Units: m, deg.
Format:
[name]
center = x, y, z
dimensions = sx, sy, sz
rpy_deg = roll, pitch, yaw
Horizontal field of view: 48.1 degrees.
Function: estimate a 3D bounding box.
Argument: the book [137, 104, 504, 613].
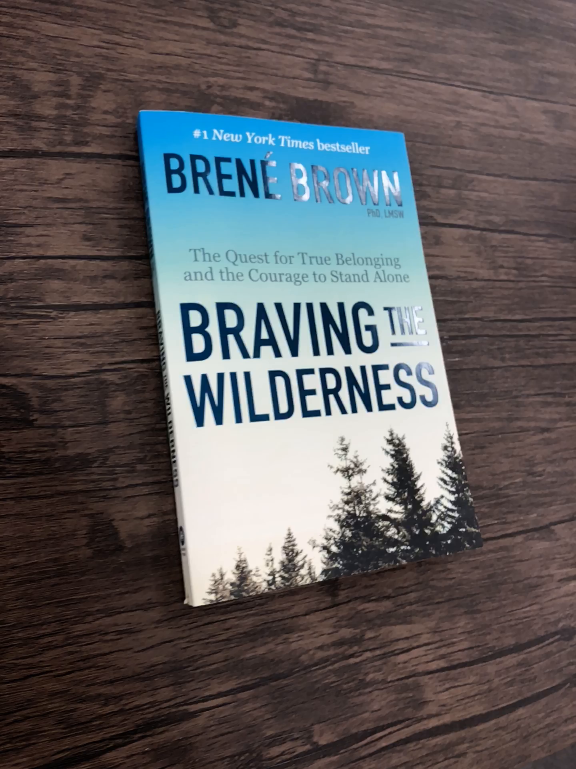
[book]
center = 0.014, -0.018, 0.271
dimensions = 0.130, 0.021, 0.191
rpy_deg = -4, 80, -23
